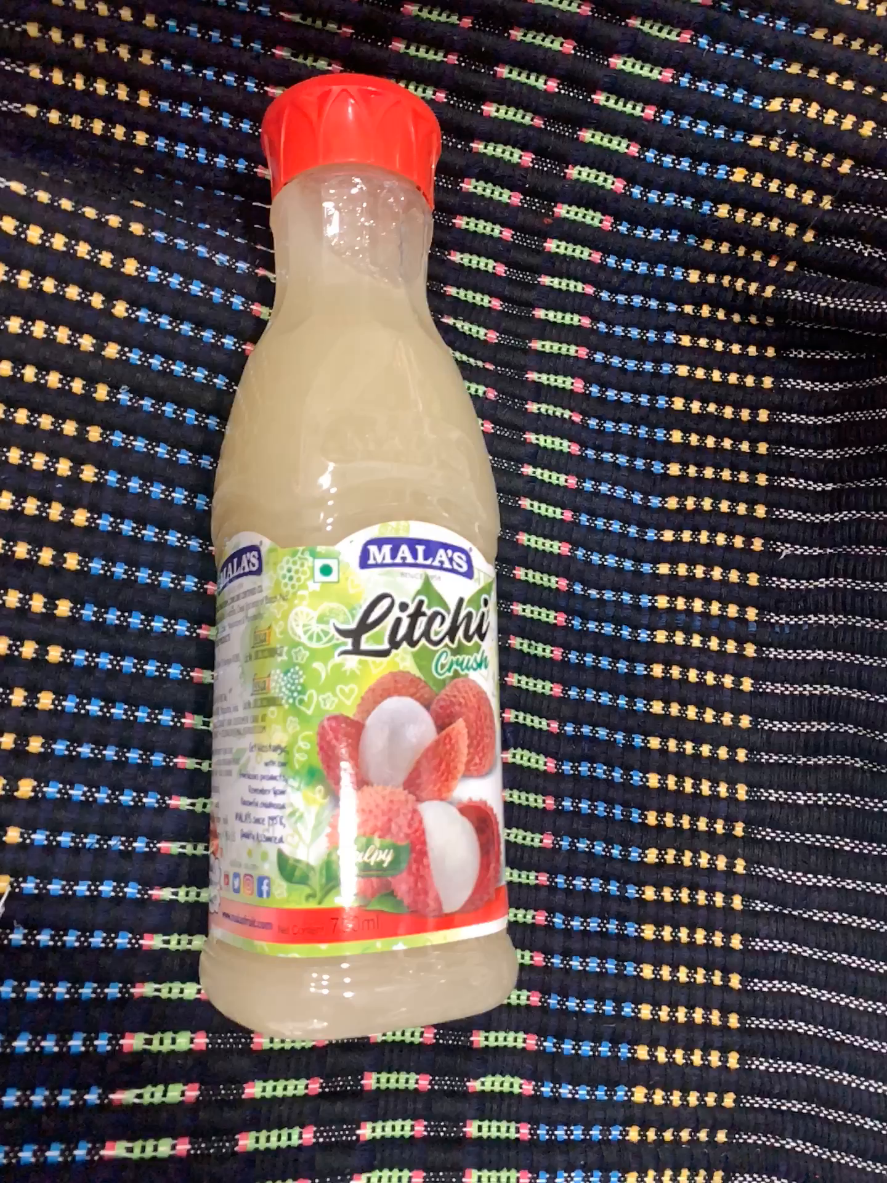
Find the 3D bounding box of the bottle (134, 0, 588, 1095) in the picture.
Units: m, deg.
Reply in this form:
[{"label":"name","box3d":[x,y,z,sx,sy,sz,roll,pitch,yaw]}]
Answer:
[{"label":"bottle","box3d":[-0.025,-0.032,0.235,0.080,0.080,0.260,4,79,-29]}]
